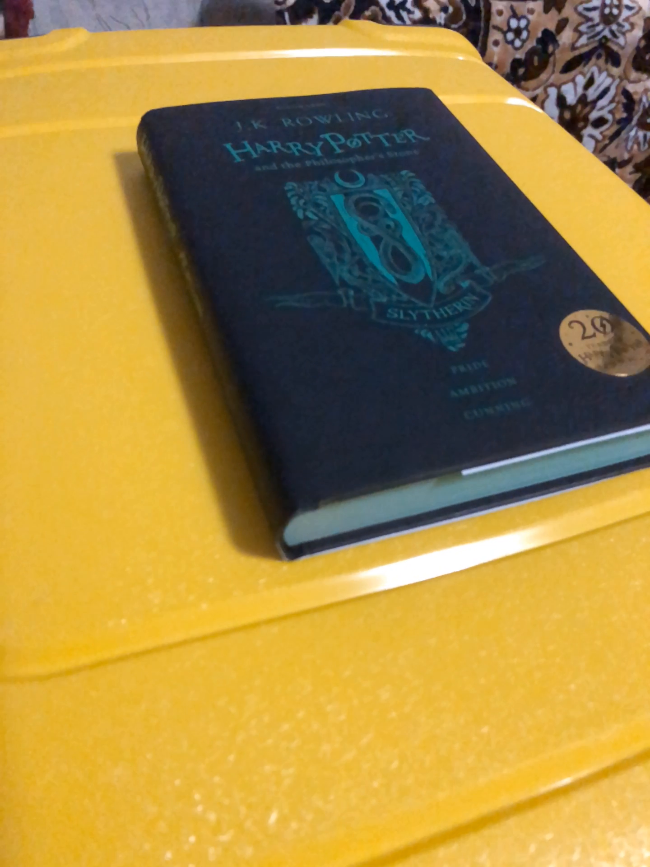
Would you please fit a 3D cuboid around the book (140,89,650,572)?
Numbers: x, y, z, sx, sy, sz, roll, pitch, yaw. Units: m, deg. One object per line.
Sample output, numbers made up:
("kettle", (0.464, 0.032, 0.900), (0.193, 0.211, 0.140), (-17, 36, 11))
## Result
("book", (0.021, -0.061, 0.263), (0.137, 0.030, 0.205), (-12, 52, -17))
